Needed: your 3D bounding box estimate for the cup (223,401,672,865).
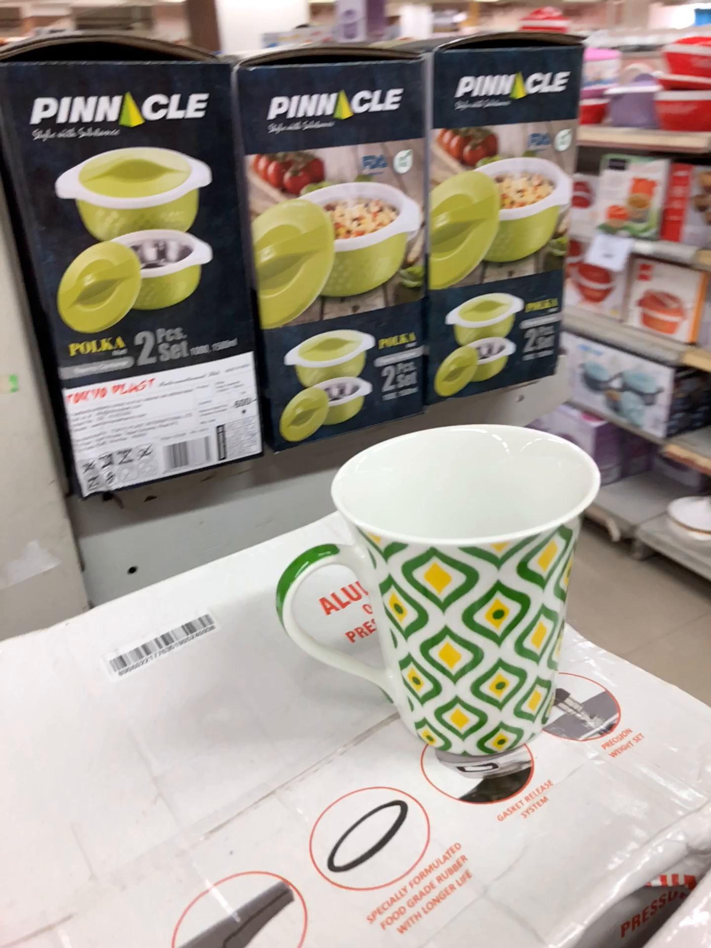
[{"bbox_3d":[0.031,0.041,0.268,0.110,0.090,0.090,-19,26,-29],"label":"cup"}]
